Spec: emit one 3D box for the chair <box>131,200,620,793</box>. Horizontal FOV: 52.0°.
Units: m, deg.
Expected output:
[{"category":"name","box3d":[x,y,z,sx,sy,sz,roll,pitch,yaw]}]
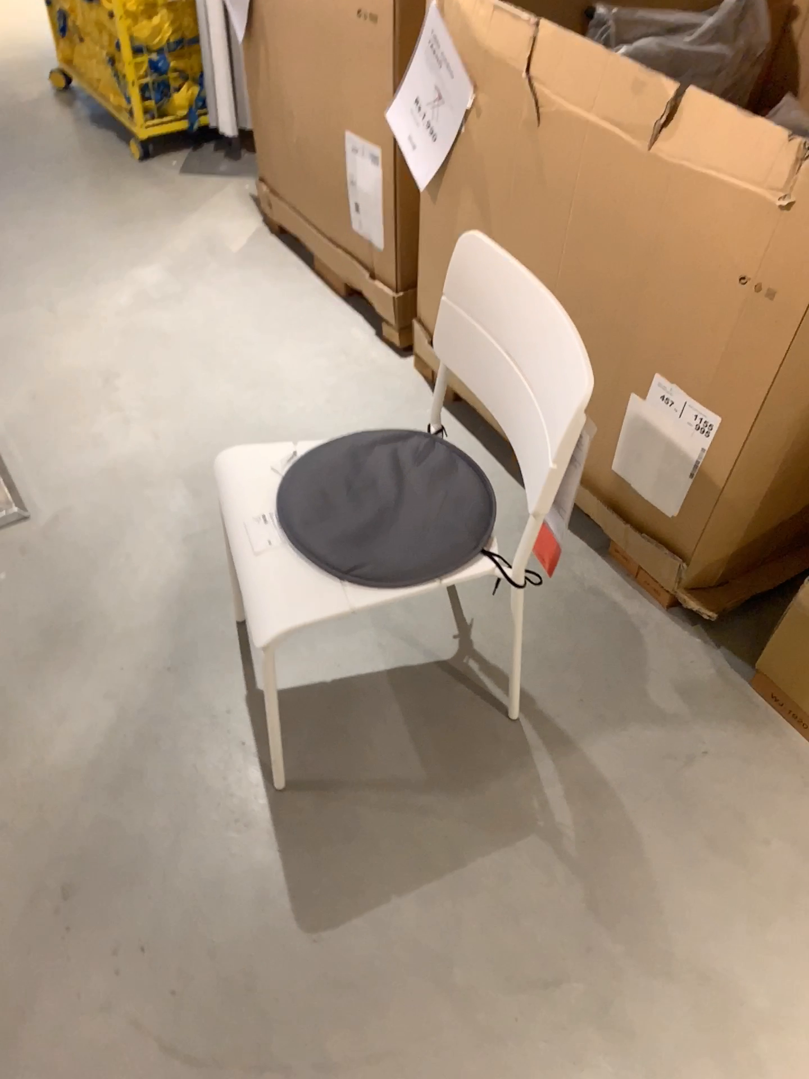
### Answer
[{"category":"chair","box3d":[-0.077,-0.044,1.280,0.490,0.718,0.461,-12,49,-13]}]
